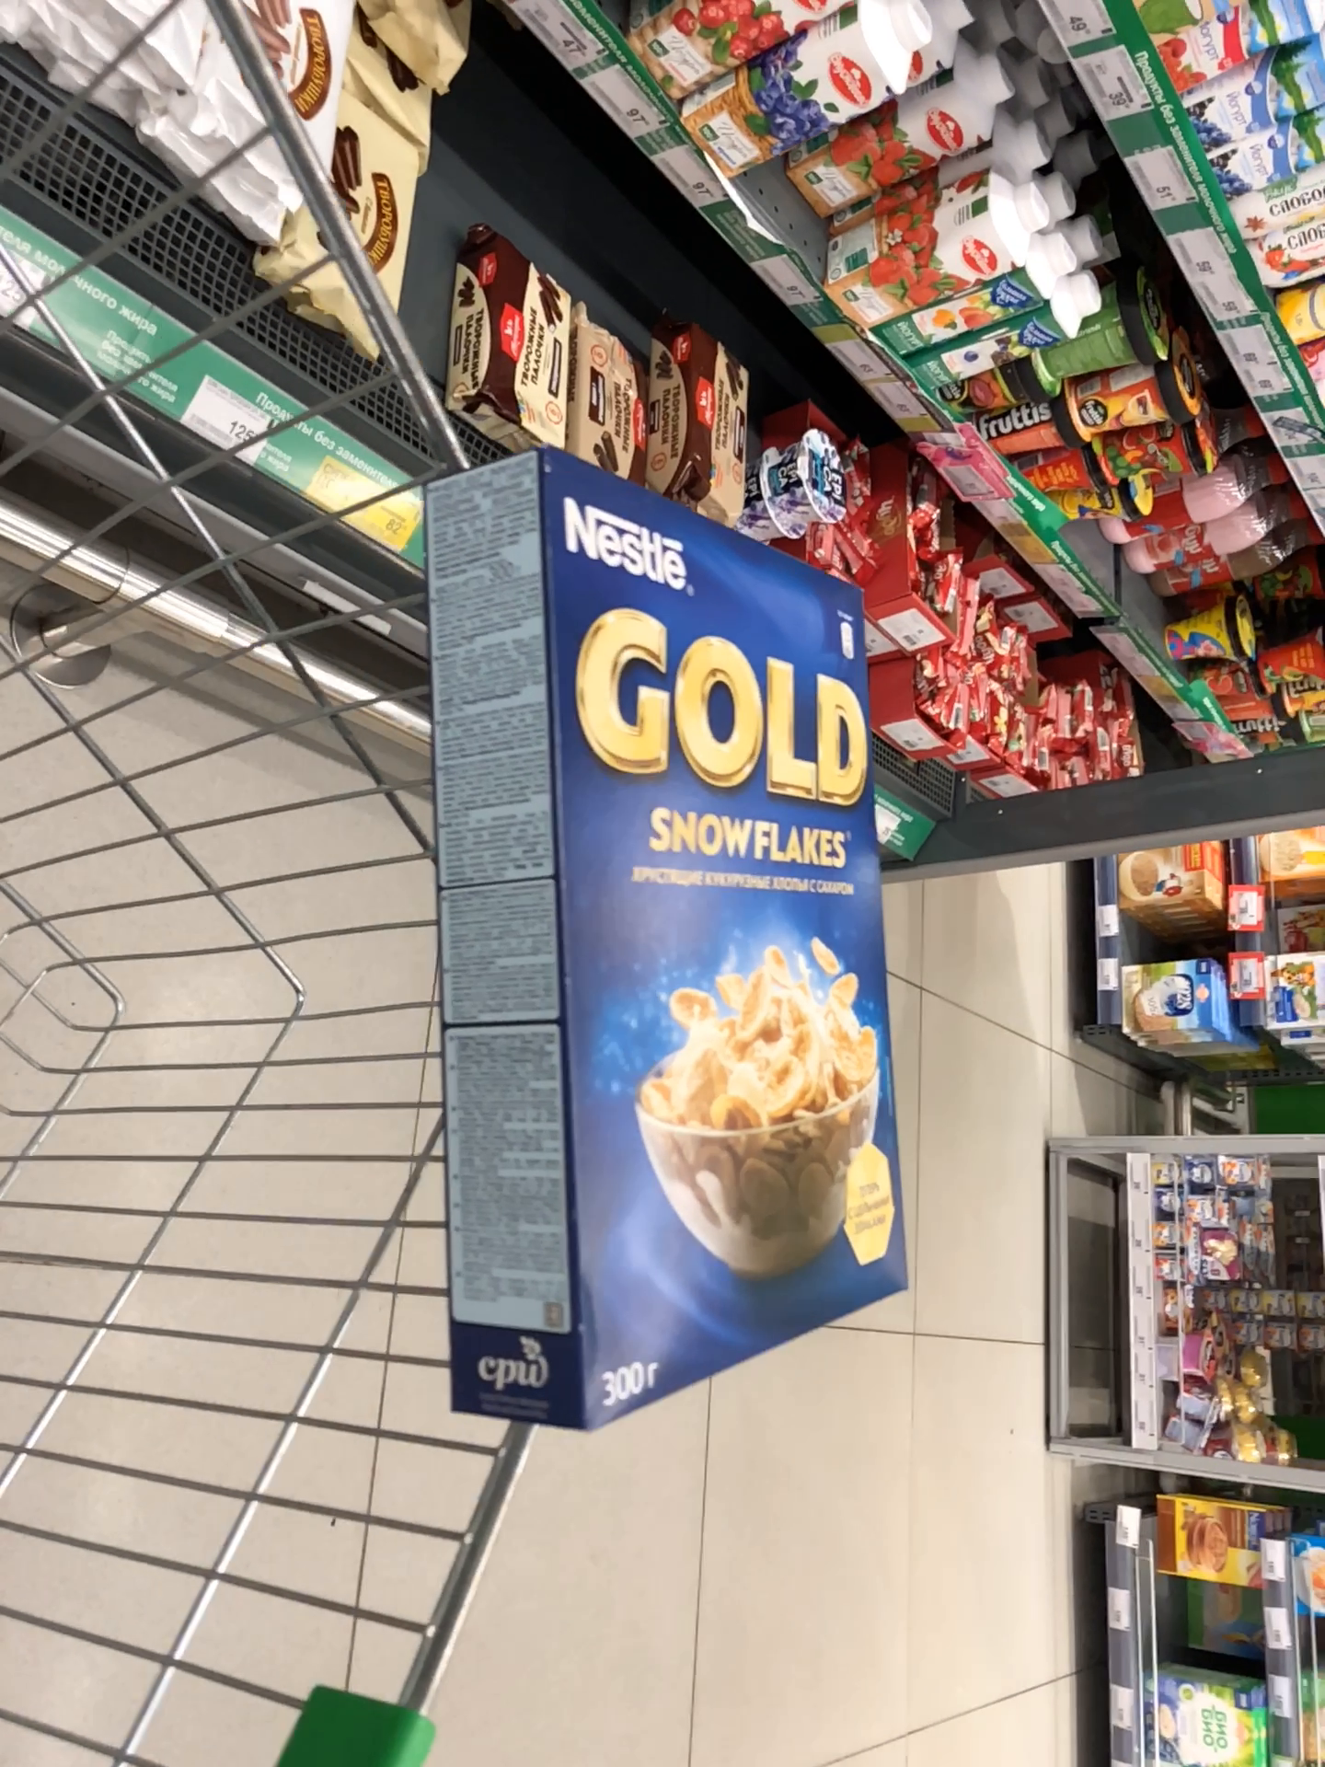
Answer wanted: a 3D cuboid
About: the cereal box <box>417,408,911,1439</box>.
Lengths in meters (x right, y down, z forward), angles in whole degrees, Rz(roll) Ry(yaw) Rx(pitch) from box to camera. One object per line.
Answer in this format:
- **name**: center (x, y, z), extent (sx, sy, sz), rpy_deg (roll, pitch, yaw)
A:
- **cereal box**: center (0.011, 0.013, 0.476), extent (0.201, 0.050, 0.270), rpy_deg (5, 80, -59)
